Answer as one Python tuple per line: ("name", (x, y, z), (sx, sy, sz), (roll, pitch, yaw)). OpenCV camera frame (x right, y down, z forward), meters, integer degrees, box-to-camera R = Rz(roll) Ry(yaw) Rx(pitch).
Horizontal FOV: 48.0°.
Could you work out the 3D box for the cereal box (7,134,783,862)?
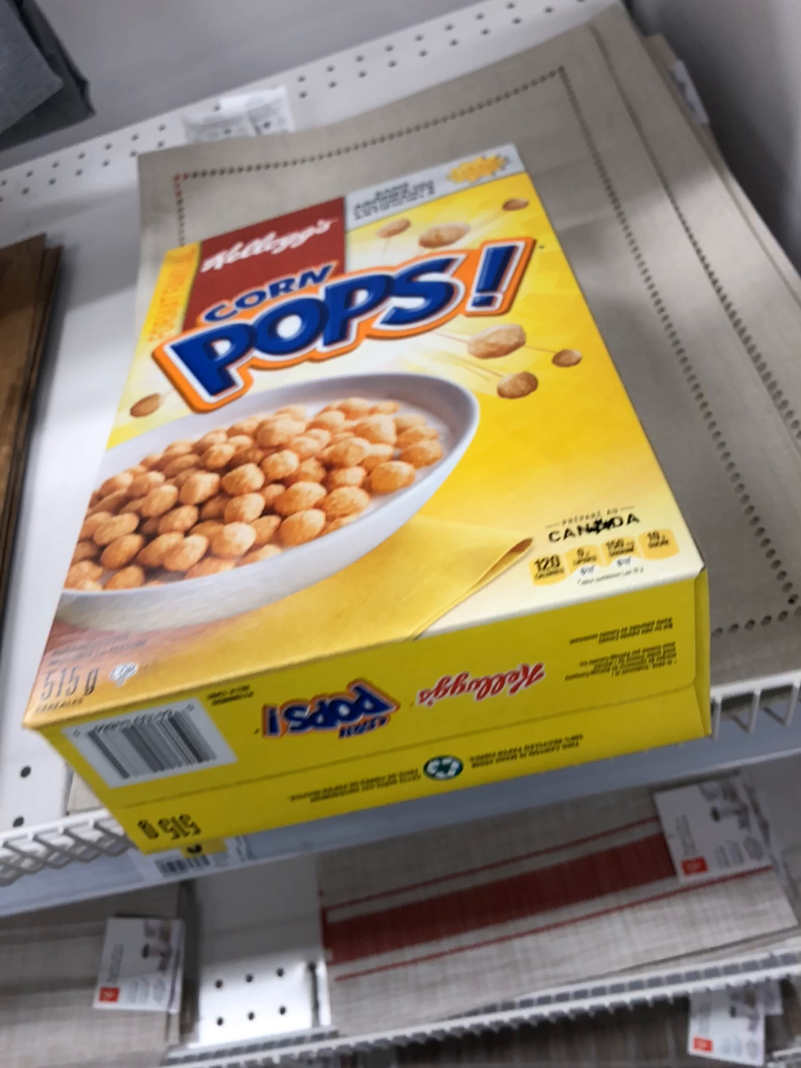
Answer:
("cereal box", (-0.013, -0.053, 0.401), (0.220, 0.080, 0.341), (-13, 42, 4))
